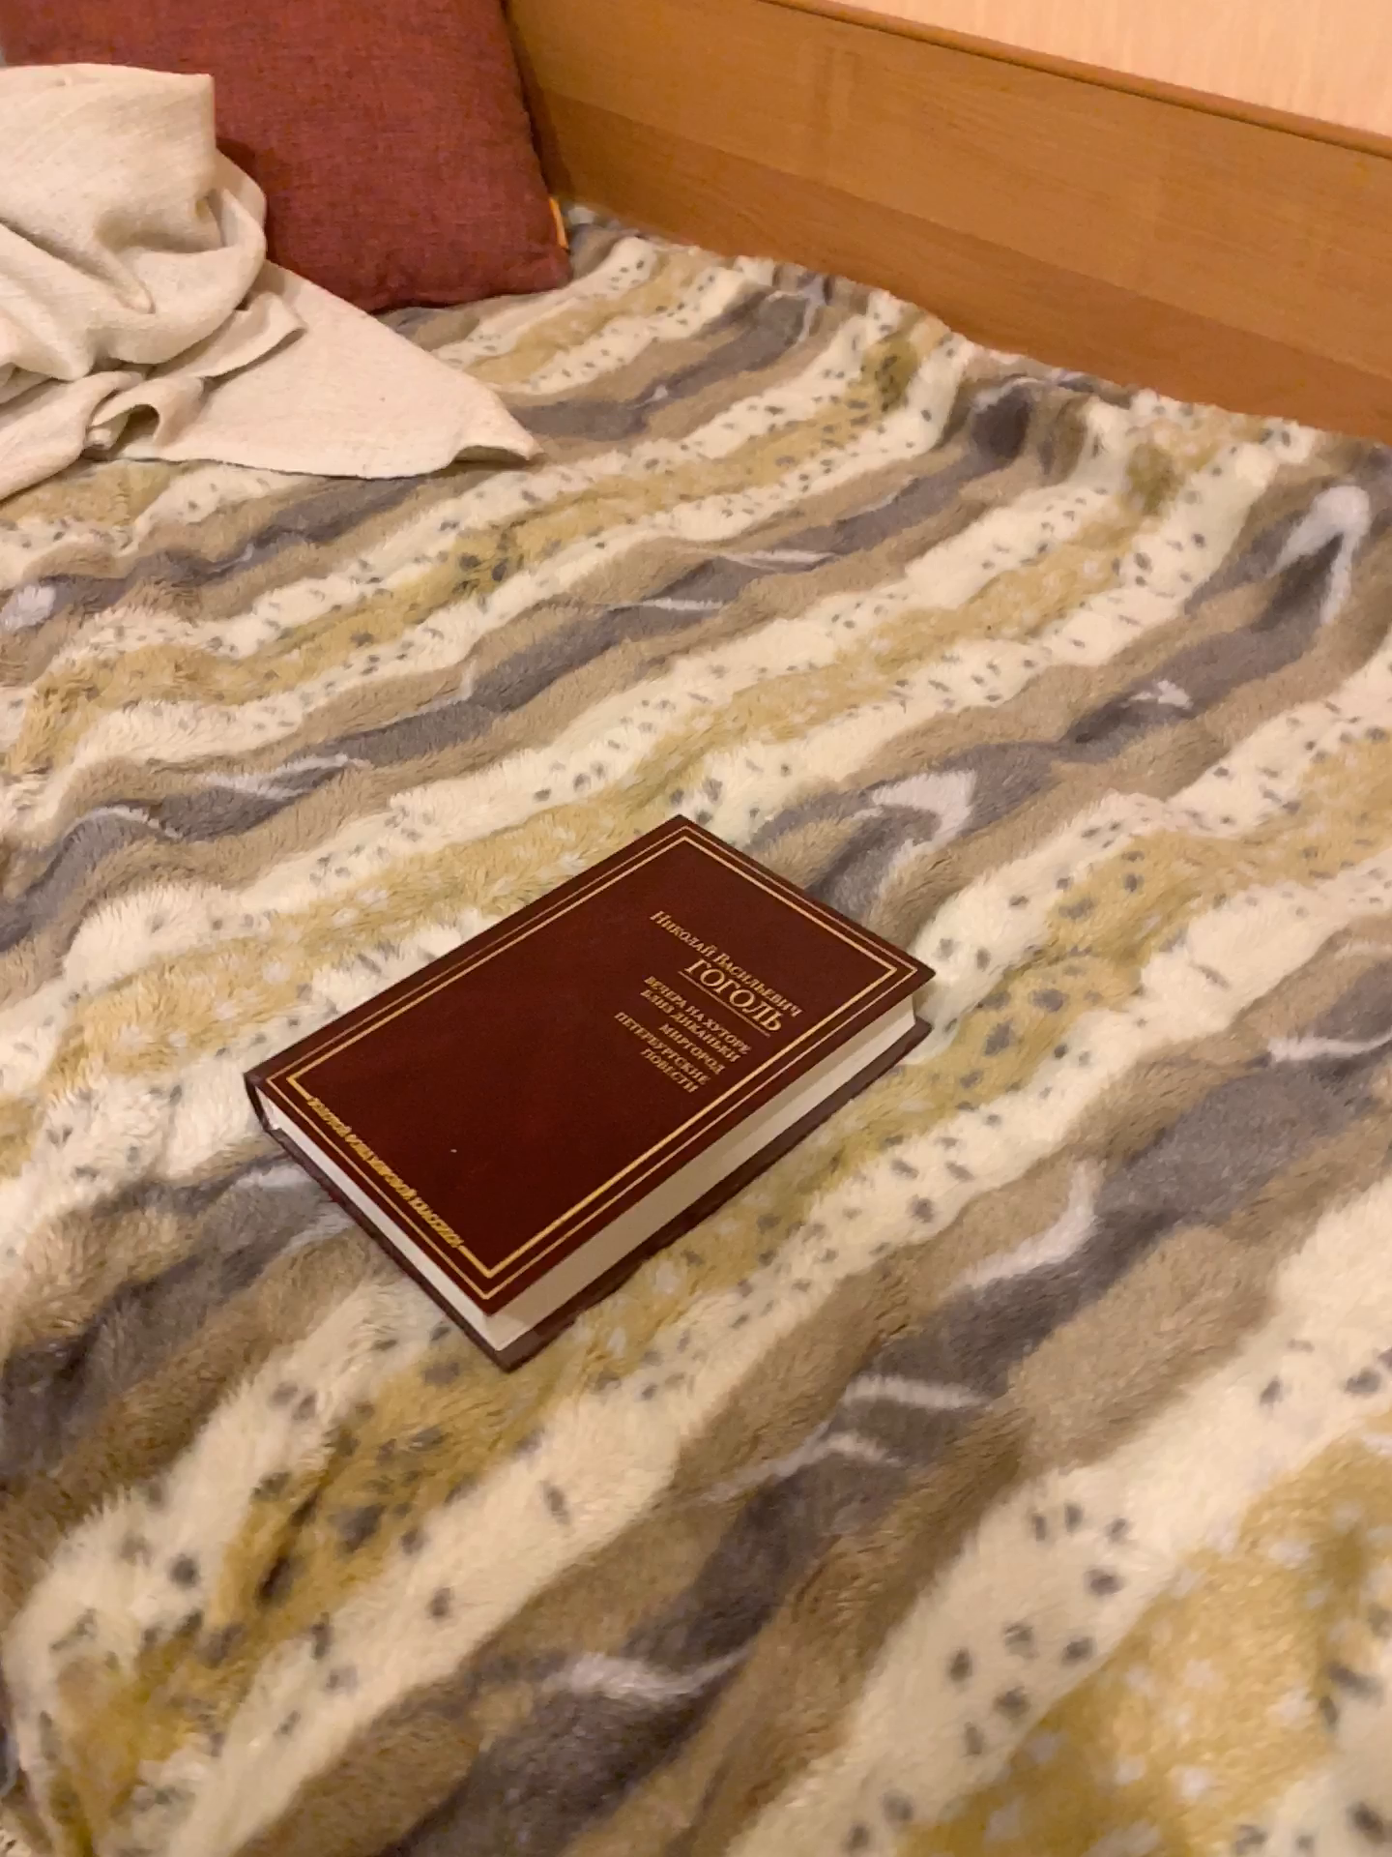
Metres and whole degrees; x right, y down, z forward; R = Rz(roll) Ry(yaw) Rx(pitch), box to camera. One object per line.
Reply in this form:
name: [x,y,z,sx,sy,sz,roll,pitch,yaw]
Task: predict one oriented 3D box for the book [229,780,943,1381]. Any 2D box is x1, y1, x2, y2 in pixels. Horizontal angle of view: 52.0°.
book: [-0.036,0.039,0.525,0.211,0.040,0.150,-35,51,-30]
